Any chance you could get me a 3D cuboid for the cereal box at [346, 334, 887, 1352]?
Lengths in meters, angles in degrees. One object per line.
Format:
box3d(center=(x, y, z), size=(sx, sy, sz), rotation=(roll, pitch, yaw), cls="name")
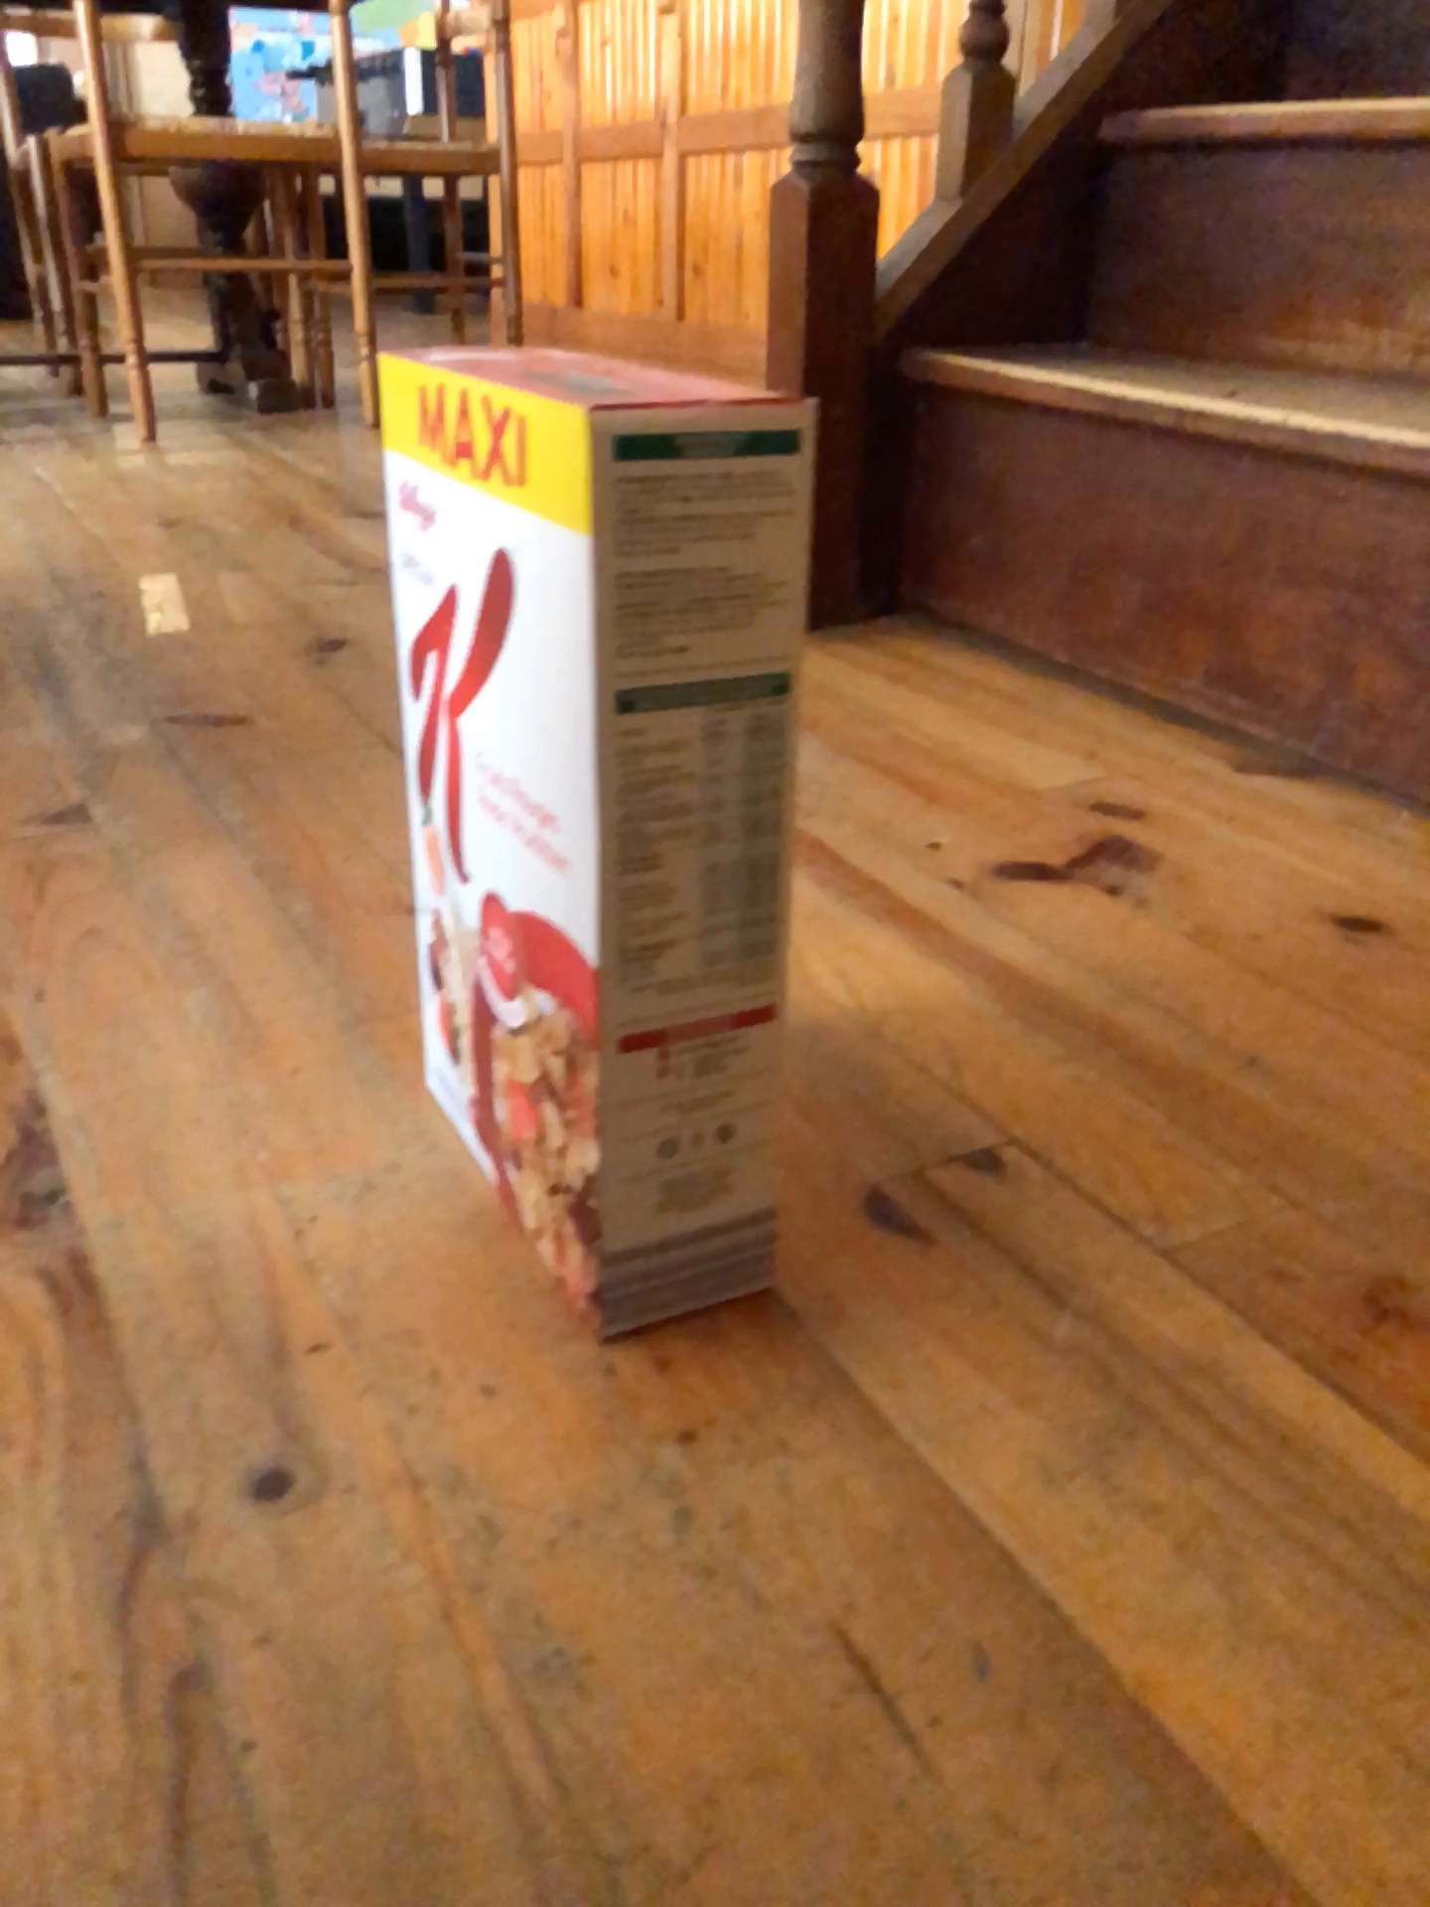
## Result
box3d(center=(-0.044, -0.053, 0.541), size=(0.090, 0.288, 0.211), rotation=(-11, 27, -25), cls="cereal box")
